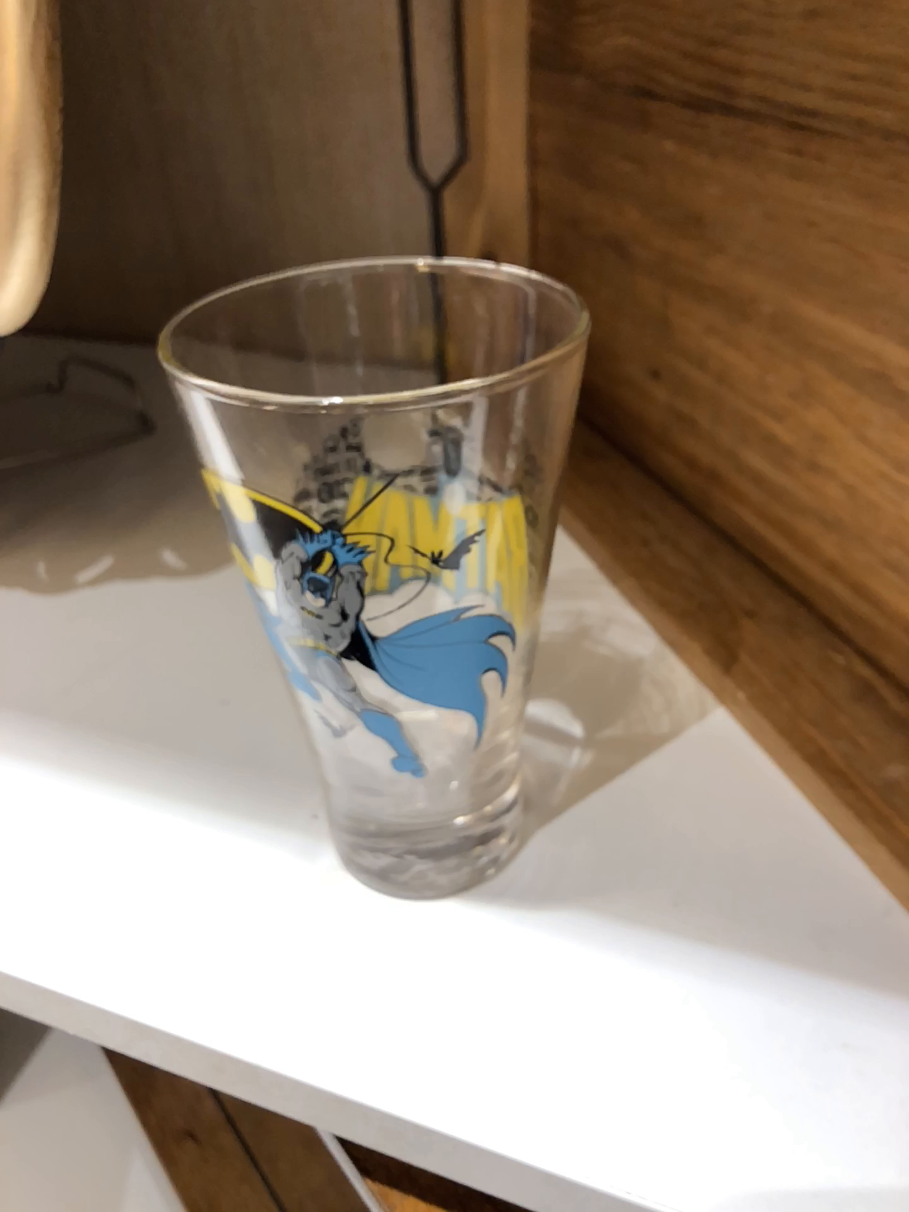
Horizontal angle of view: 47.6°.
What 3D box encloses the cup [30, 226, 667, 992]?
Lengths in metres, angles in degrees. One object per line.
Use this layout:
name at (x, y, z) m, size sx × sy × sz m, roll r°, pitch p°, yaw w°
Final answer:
cup at (-0.014, -0.004, 0.229) m, size 0.090 × 0.129 × 0.080 m, roll 16°, pitch 38°, yaw 28°
